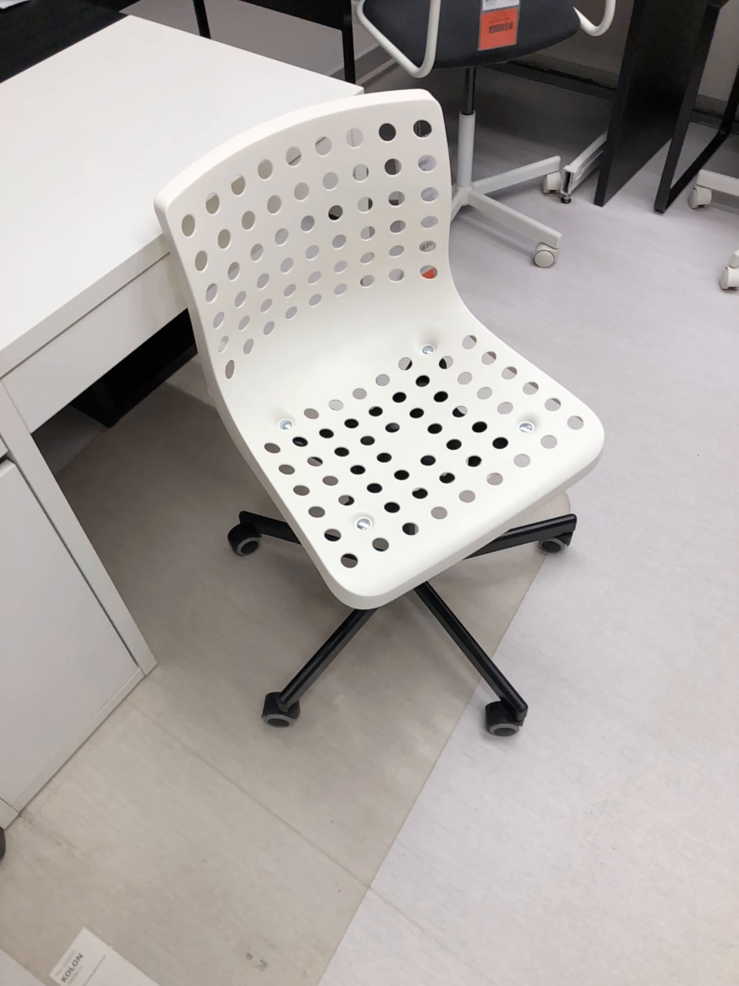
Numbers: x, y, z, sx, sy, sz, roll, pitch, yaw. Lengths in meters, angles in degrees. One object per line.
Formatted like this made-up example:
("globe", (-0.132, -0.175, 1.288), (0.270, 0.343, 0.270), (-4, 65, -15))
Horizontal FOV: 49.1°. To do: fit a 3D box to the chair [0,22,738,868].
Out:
("chair", (0.030, -0.067, 1.137), (0.671, 0.746, 0.653), (-30, 56, -20))
